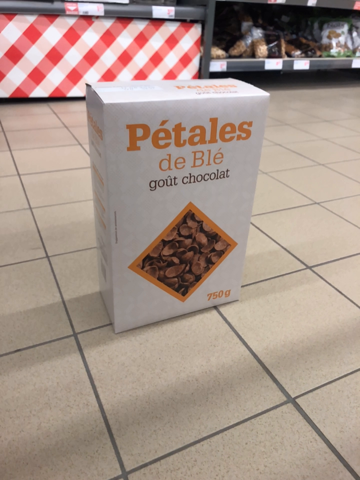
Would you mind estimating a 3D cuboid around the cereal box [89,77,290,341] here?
[{"bbox_3d":[0.002,-0.039,0.494,0.191,0.288,0.100,-10,32,-21],"label":"cereal box"}]
